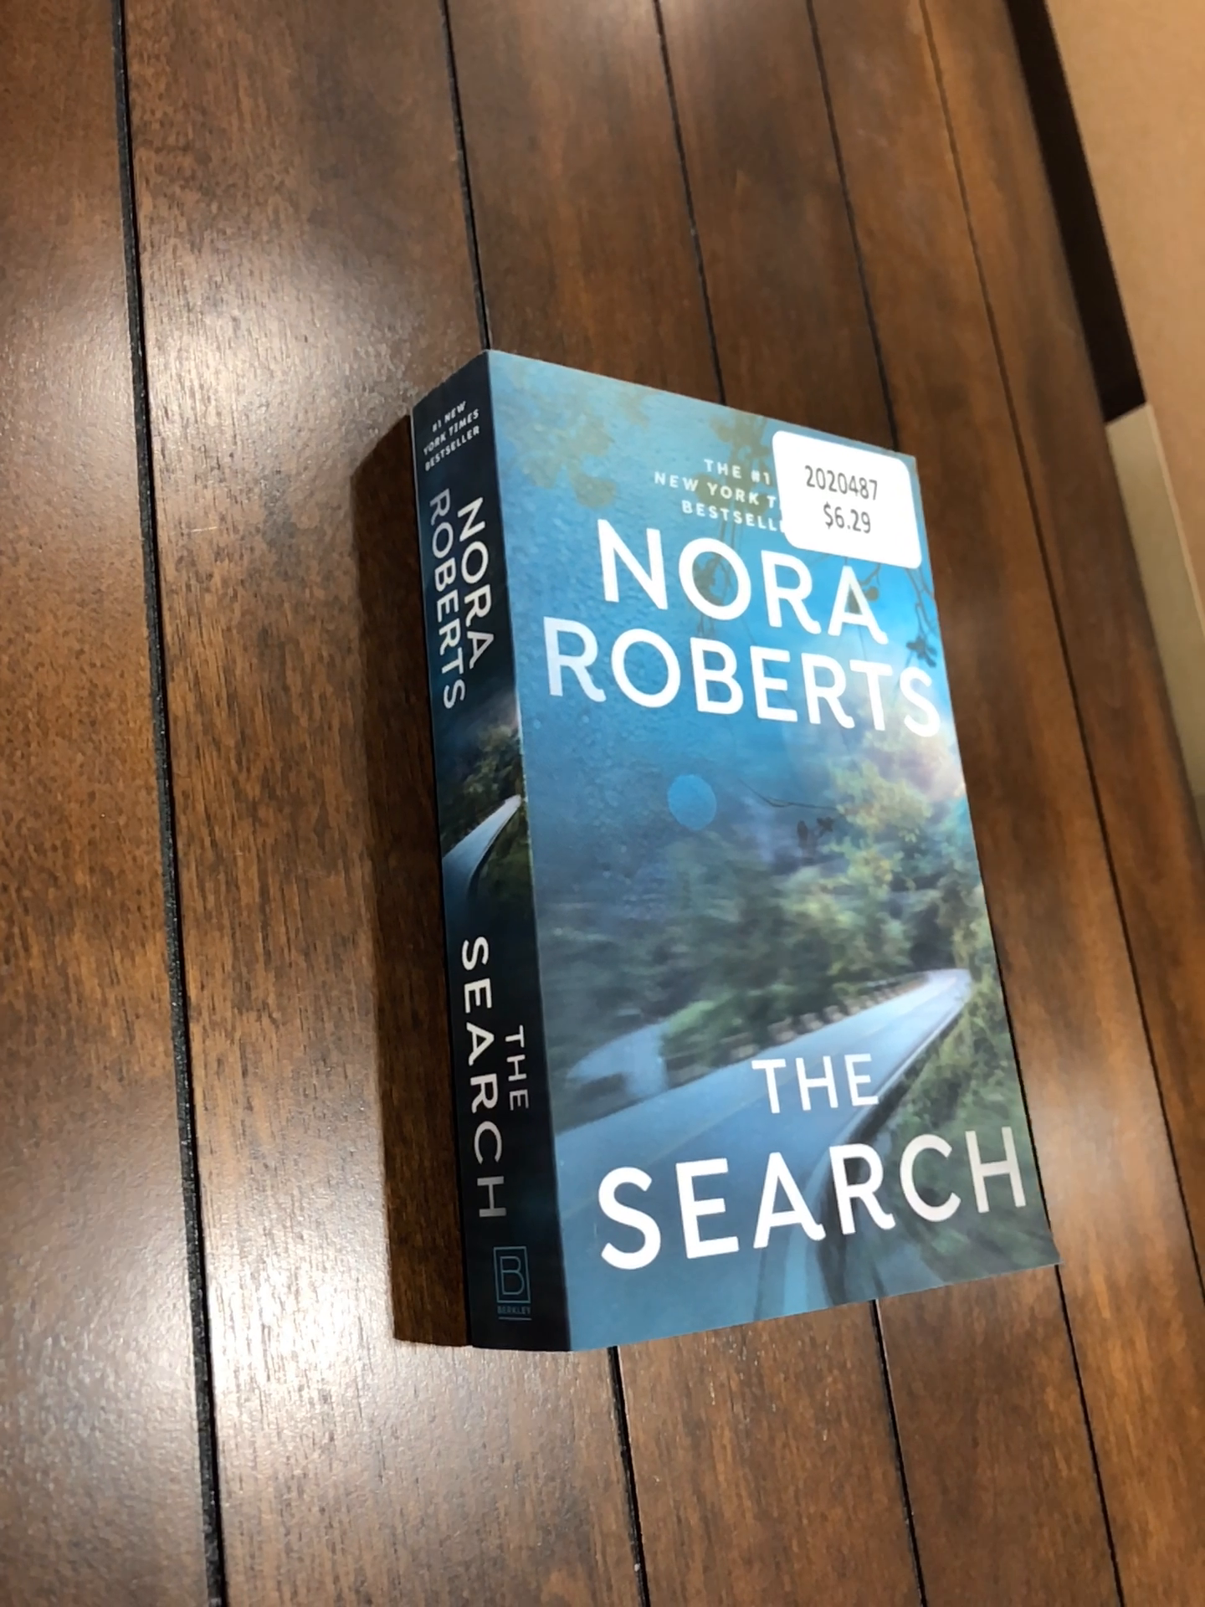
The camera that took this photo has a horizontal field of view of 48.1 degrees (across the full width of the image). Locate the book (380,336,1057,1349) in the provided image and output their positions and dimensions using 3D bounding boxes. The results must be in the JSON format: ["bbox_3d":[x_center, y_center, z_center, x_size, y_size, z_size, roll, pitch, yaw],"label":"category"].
[{"bbox_3d":[0.020,0.008,0.269,0.108,0.050,0.170,4,72,-32],"label":"book"}]
